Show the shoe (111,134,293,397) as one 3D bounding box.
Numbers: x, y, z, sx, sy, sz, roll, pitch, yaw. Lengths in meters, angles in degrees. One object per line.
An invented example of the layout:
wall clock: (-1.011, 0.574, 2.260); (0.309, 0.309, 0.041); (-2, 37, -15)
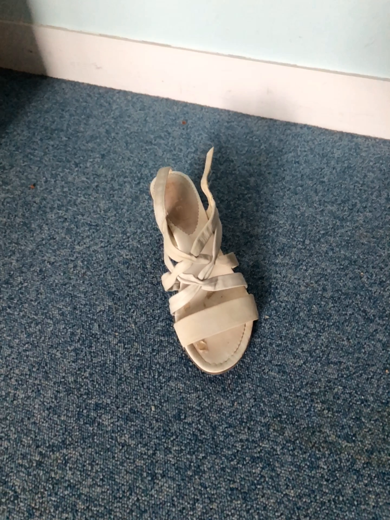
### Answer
shoe: (-0.005, -0.005, 0.447); (0.100, 0.109, 0.241); (-15, 54, -9)
